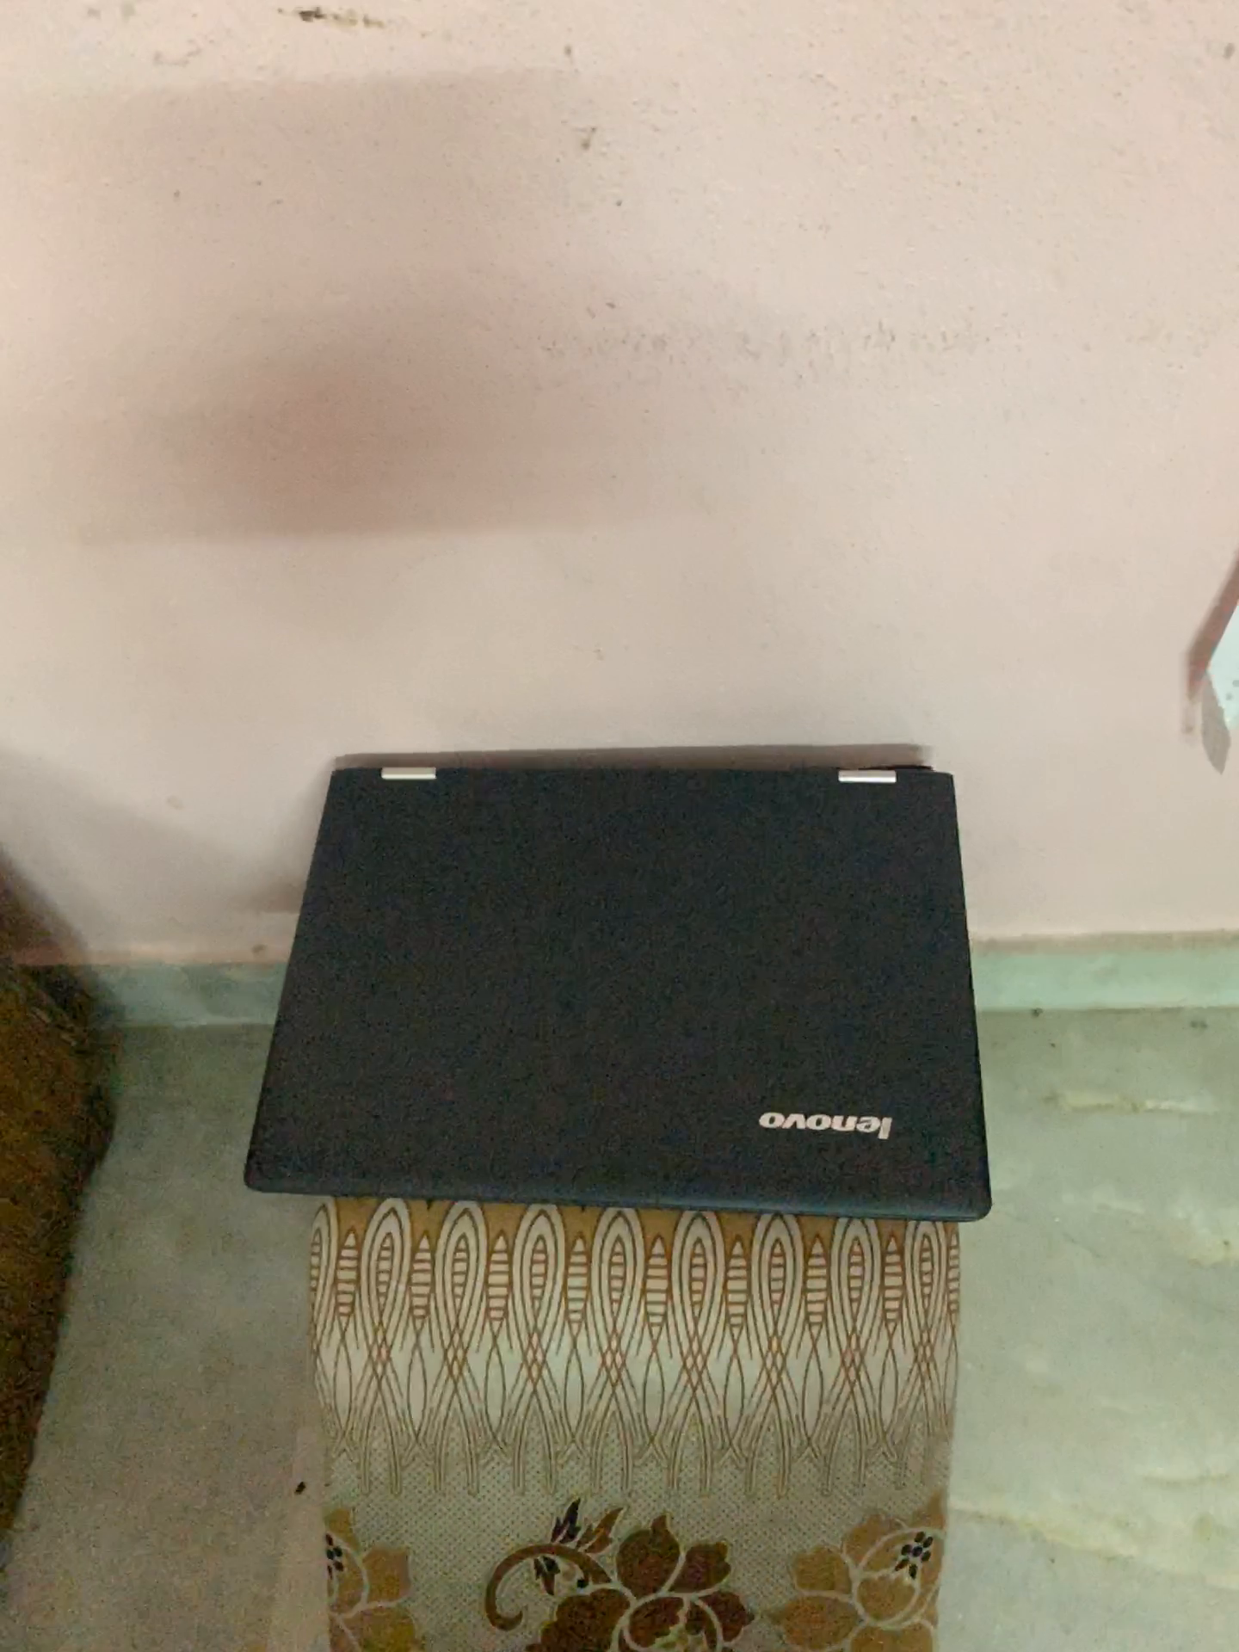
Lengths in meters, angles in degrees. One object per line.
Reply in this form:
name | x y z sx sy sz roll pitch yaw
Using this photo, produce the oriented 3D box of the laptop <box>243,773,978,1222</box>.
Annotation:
laptop | 0.000 0.069 0.592 0.312 0.012 0.214 1 60 6
